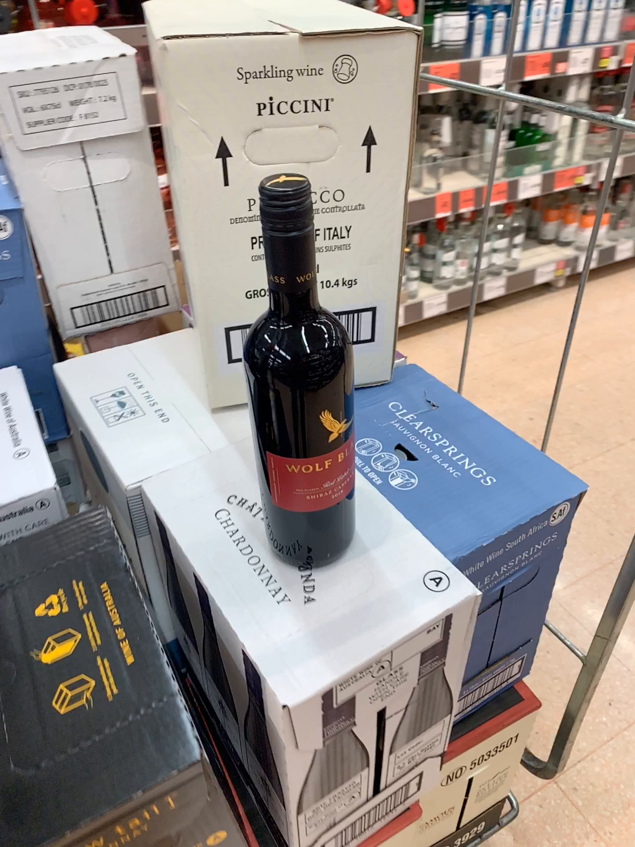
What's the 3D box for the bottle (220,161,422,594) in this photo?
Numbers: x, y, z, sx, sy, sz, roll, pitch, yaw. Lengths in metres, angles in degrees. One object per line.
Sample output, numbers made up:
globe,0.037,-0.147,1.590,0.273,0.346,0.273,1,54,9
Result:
bottle,0.003,-0.019,0.434,0.080,0.270,0.076,0,36,0
